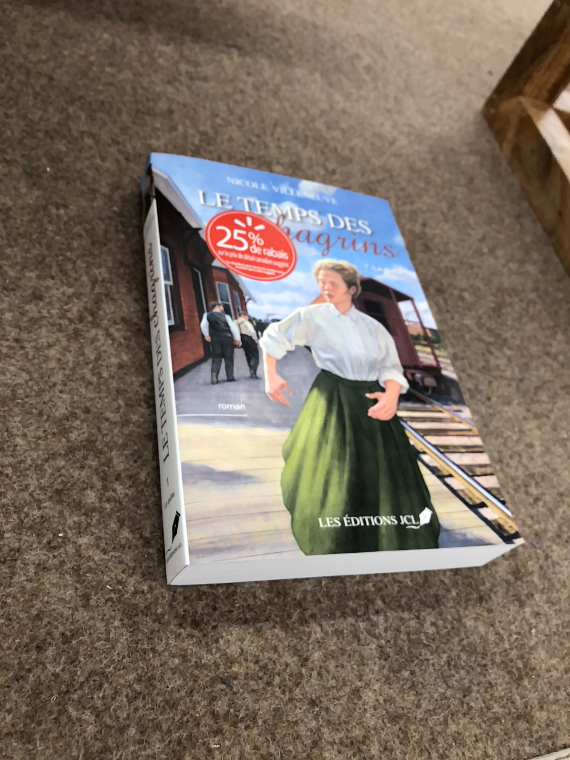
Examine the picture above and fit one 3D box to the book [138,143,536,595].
[{"bbox_3d":[0.013,-0.017,0.314,0.155,0.030,0.225,4,55,-23],"label":"book"}]
